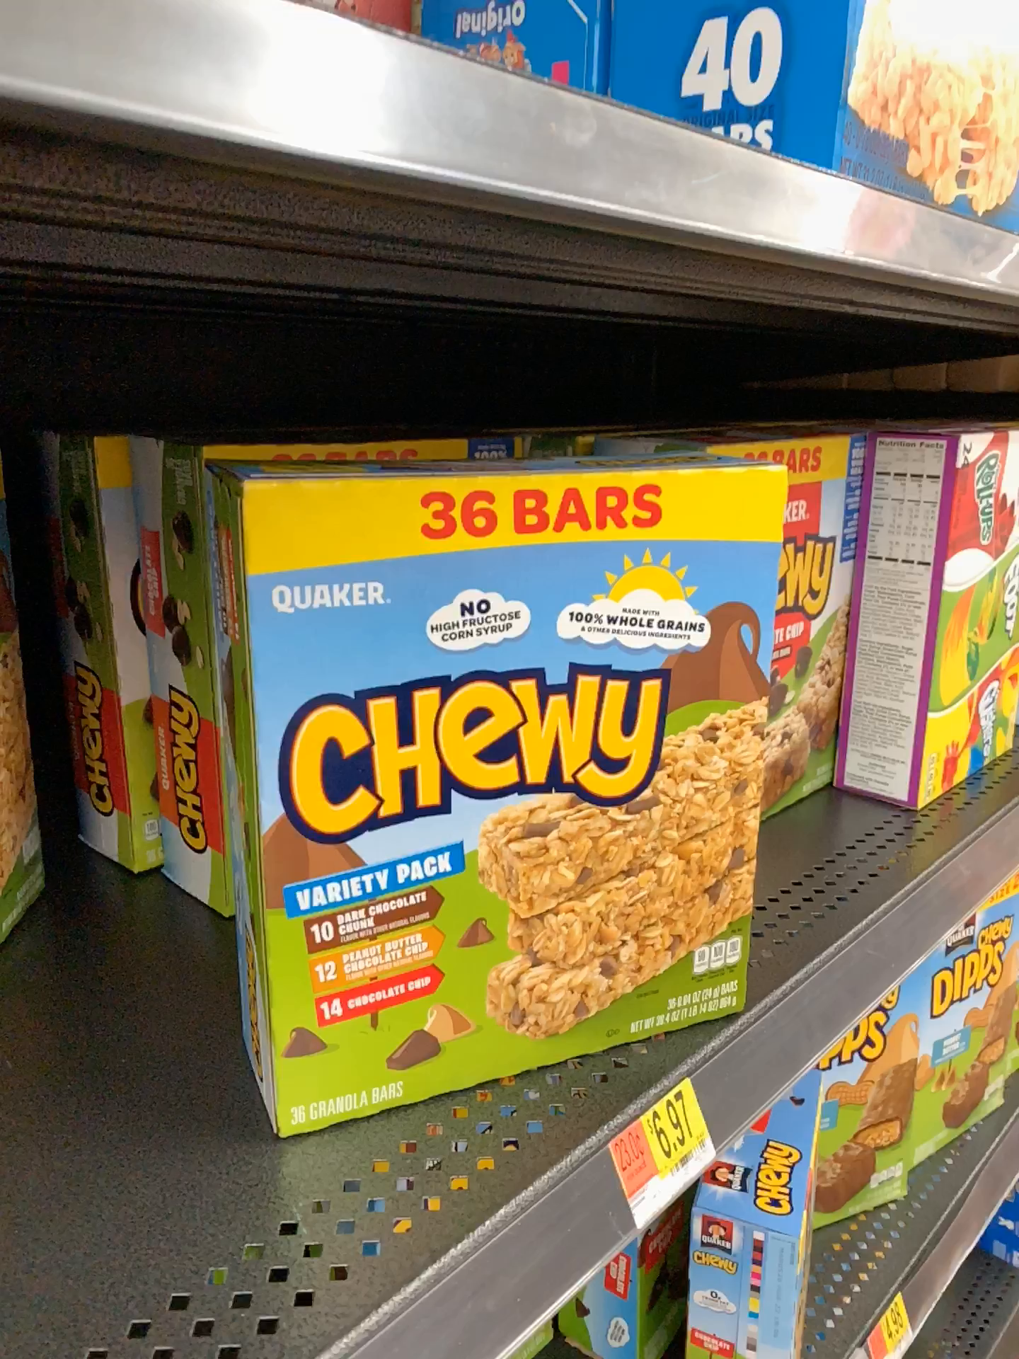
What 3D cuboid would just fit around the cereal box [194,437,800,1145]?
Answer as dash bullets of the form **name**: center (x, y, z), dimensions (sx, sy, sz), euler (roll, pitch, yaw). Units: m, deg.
- **cereal box**: center (-0.004, 0.028, 0.395), dimensions (0.200, 0.229, 0.070), euler (-6, 16, -23)
